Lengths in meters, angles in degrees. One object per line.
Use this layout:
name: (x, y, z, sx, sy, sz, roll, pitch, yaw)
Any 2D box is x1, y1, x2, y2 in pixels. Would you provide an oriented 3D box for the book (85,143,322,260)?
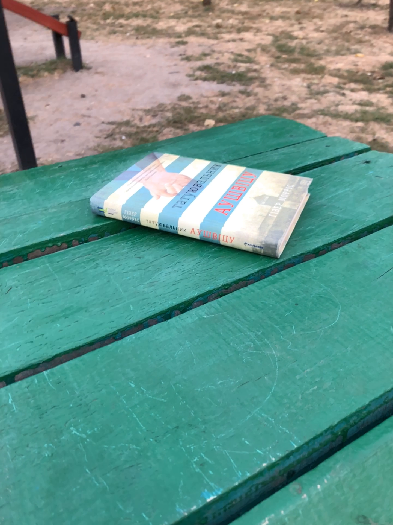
book: (0.013, -0.079, 0.480, 0.218, 0.025, 0.152, 14, 38, 18)
